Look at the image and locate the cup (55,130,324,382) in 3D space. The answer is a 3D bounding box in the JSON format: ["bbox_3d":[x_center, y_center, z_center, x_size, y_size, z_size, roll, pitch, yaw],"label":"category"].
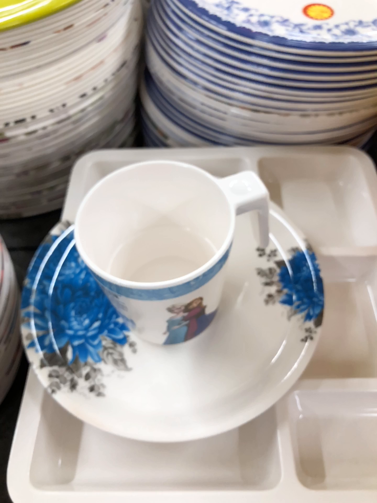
[{"bbox_3d":[-0.002,0.004,0.244,0.110,0.090,0.080,-17,58,-10],"label":"cup"}]
